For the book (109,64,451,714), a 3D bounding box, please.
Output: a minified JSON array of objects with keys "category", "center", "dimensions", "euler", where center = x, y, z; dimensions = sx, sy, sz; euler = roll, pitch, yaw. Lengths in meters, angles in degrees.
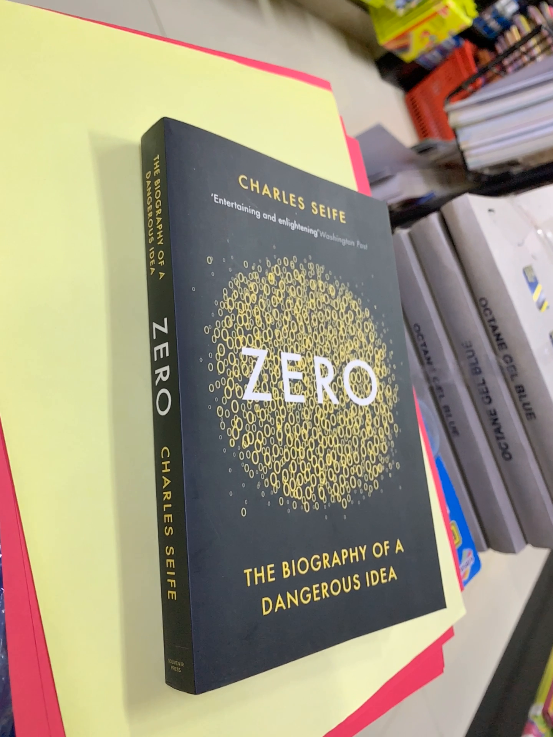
[{"category":"book","center":[0.004,0.004,0.234],"dimensions":[0.131,0.040,0.200],"euler":[6,75,-42]}]
